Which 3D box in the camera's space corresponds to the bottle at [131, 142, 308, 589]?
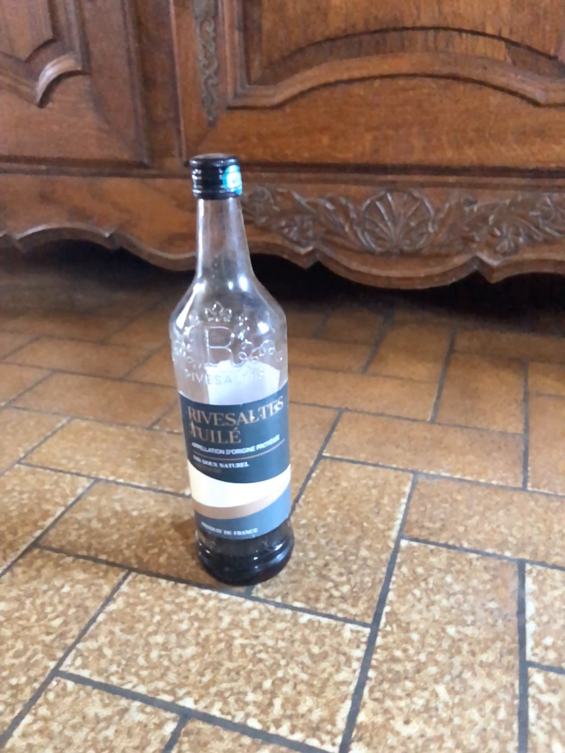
[{"bbox_3d":[-0.030,0.001,0.437,0.090,0.298,0.091,-2,26,1],"label":"bottle"}]
